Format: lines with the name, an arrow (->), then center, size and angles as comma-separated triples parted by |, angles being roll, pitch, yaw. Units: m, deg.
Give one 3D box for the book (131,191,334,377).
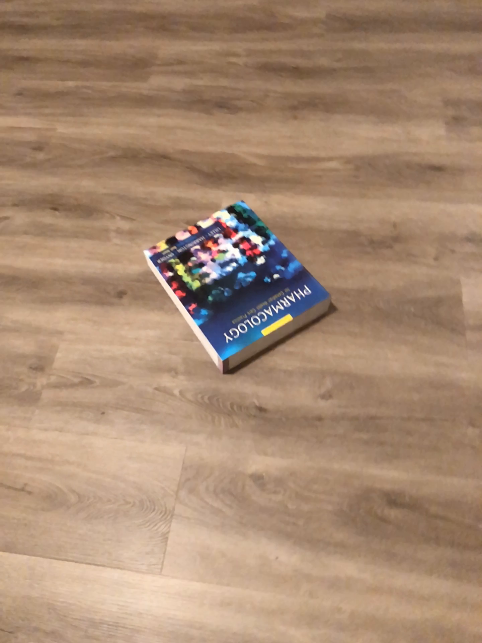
book -> -0.020, -0.077, 0.909 | 0.228, 0.046, 0.278 | -30, 60, -14
